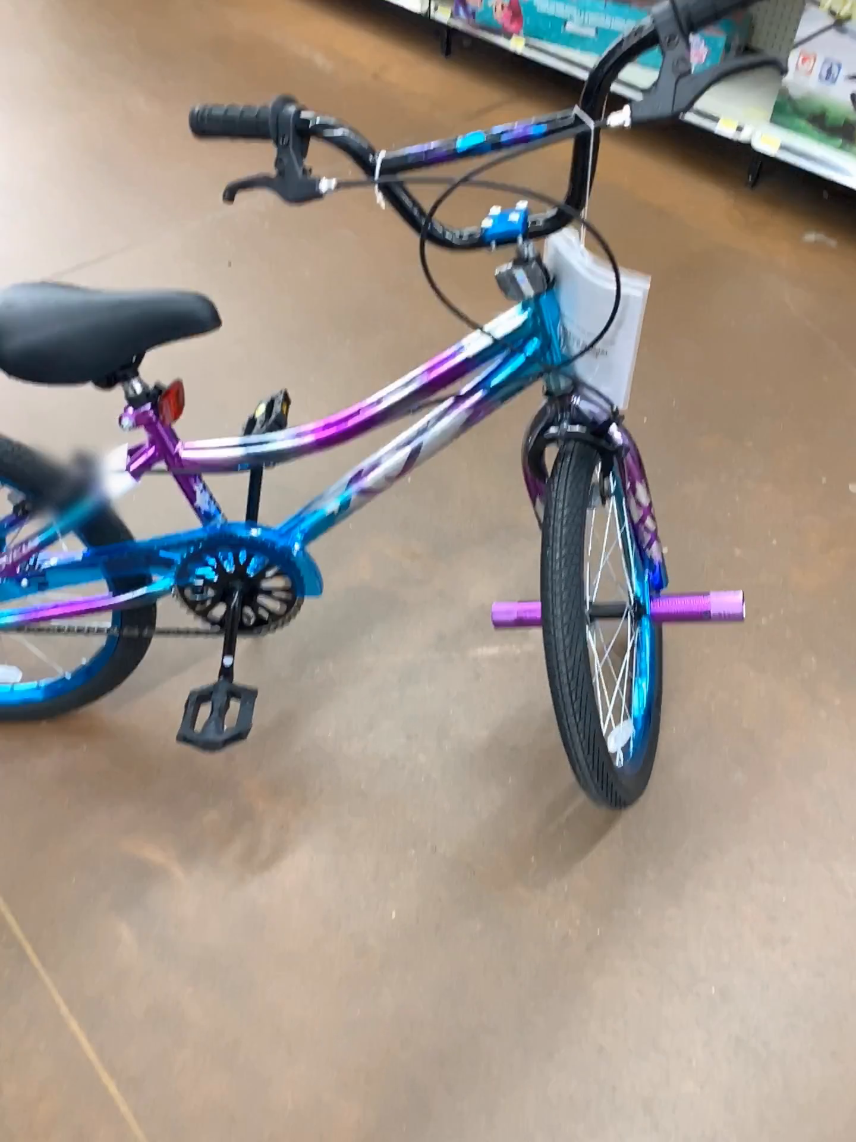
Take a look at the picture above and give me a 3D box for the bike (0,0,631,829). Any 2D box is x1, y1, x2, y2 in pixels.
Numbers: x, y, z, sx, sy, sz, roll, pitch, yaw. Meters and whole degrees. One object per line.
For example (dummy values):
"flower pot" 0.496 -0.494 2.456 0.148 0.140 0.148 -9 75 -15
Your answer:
"bike" -0.363 -0.193 0.964 0.933 0.931 0.580 2 49 -1
